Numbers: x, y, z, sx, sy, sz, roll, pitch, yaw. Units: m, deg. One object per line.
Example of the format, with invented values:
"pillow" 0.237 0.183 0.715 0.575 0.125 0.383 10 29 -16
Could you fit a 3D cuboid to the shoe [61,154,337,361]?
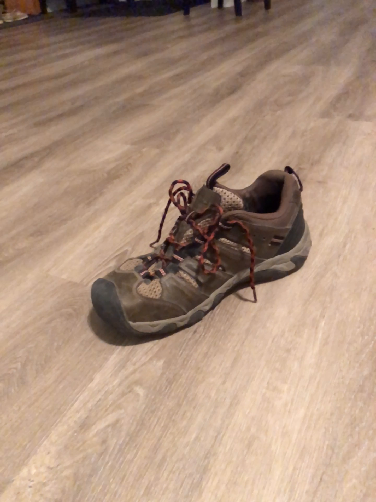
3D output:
"shoe" 0.020 -0.009 0.462 0.270 0.099 0.110 -22 38 -24
